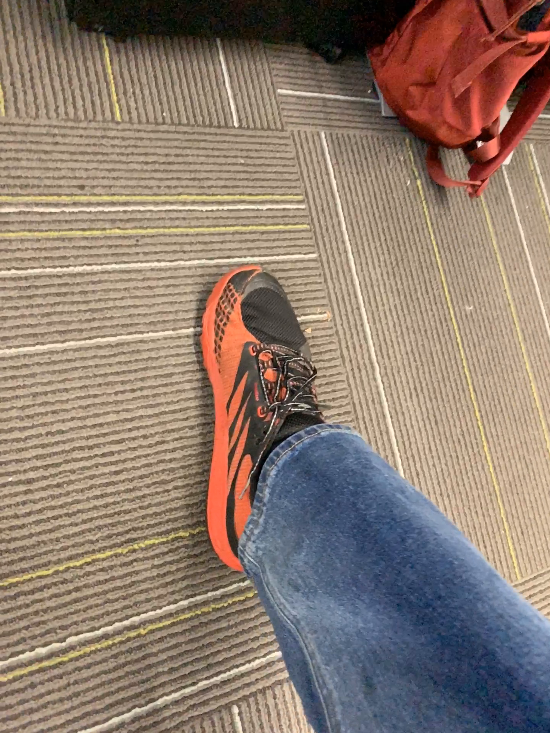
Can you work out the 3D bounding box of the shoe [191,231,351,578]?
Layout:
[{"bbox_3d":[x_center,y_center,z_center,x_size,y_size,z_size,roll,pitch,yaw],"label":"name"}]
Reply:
[{"bbox_3d":[-0.010,0.035,0.572,0.131,0.077,0.318,3,77,-25],"label":"shoe"}]
